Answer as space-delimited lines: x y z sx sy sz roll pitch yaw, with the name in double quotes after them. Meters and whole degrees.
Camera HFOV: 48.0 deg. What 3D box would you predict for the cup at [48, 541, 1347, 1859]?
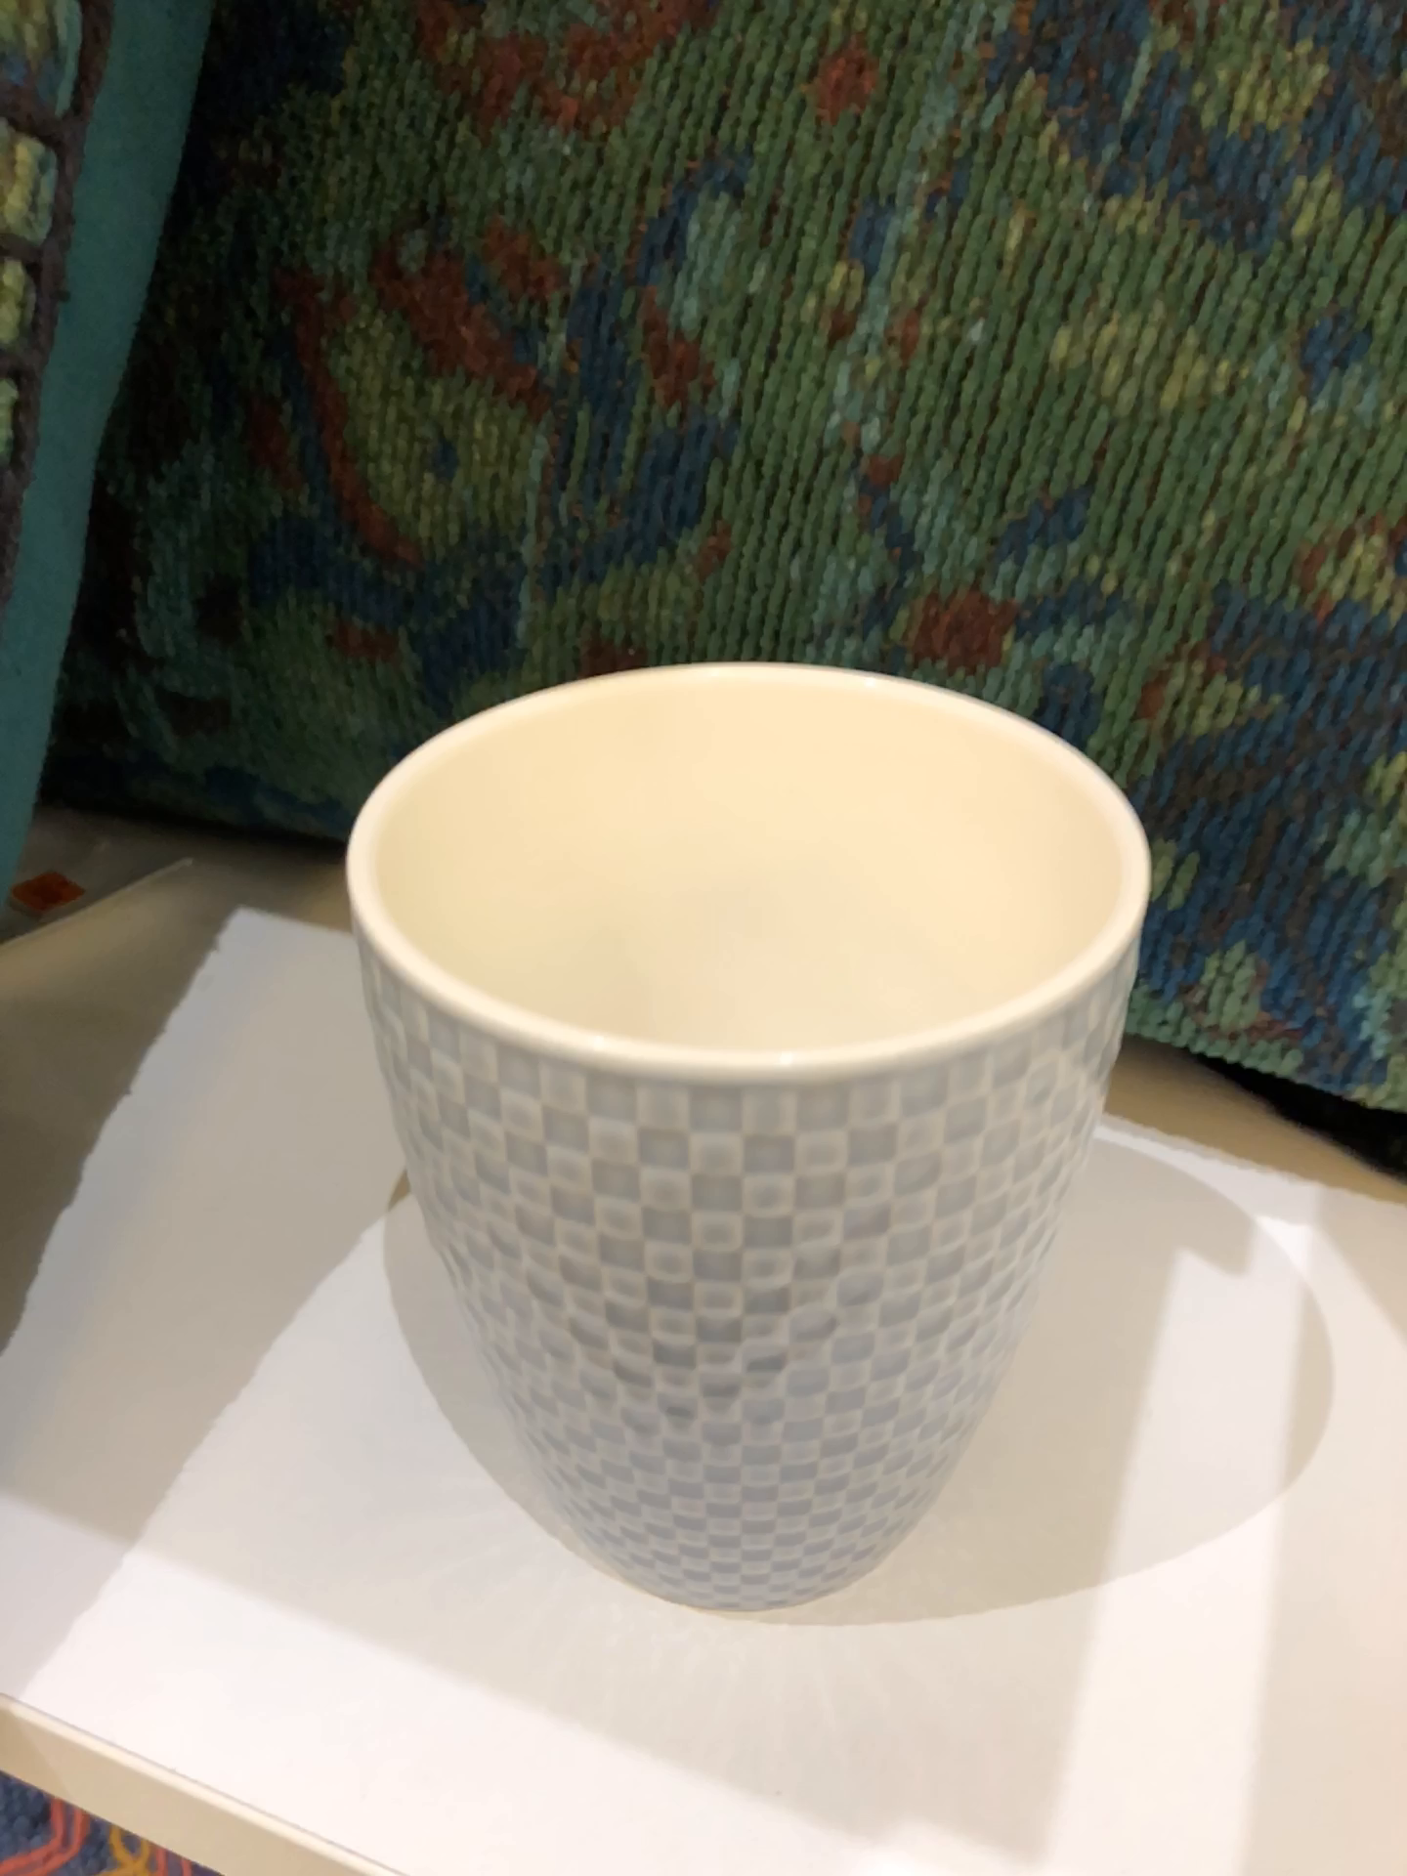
-0.004 0.016 0.183 0.090 0.079 0.100 -25 40 -31 "cup"
